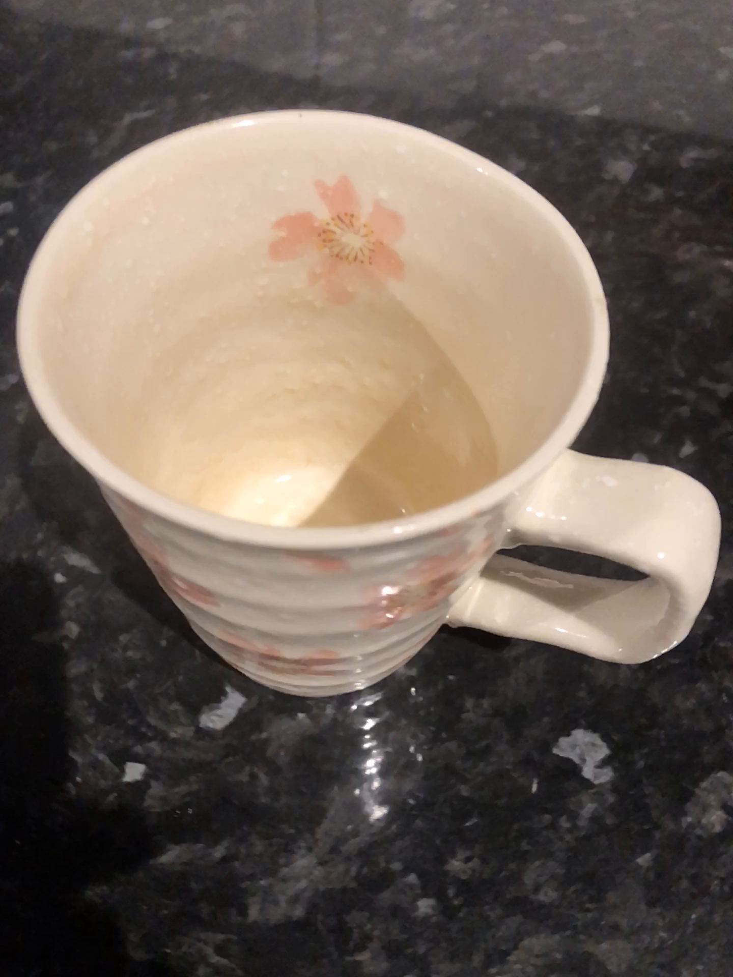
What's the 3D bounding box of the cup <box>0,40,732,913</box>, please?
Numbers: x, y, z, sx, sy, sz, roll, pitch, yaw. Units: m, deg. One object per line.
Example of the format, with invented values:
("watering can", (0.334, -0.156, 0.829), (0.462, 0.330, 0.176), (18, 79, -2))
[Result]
("cup", (0.009, 0.002, 0.158), (0.130, 0.100, 0.090), (21, 59, 10))
